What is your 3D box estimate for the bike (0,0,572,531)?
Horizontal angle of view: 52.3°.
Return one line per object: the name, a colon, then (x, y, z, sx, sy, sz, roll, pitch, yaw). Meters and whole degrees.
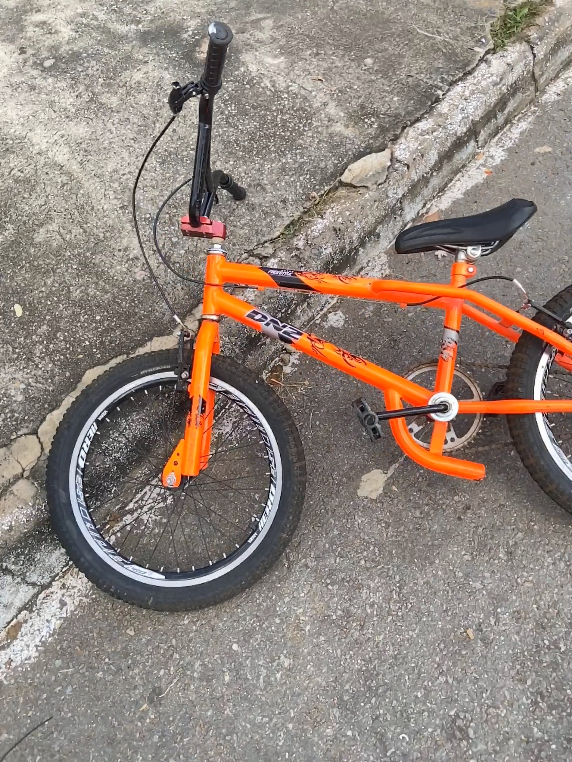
bike: (0.213, -0.292, 1.109, 1.353, 0.858, 0.748, -6, 54, 5)
